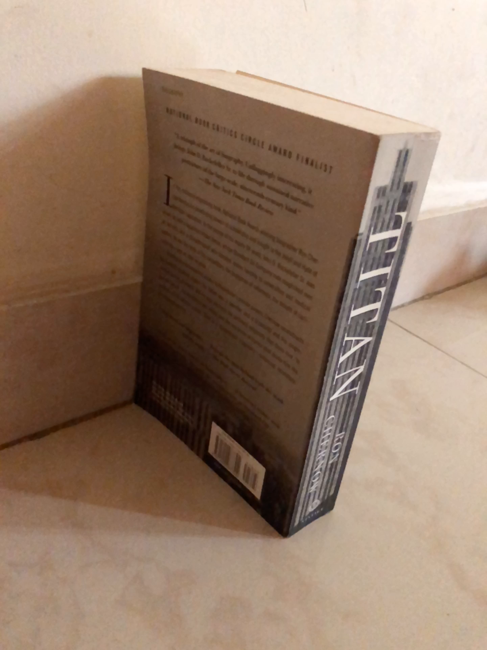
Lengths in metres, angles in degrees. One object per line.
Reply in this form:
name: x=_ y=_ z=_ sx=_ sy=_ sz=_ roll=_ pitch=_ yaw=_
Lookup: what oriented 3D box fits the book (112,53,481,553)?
book: x=-0.001 y=-0.022 z=0.328 sx=0.060 sy=0.229 sz=0.200 roll=-19 pitch=39 yaw=-38
